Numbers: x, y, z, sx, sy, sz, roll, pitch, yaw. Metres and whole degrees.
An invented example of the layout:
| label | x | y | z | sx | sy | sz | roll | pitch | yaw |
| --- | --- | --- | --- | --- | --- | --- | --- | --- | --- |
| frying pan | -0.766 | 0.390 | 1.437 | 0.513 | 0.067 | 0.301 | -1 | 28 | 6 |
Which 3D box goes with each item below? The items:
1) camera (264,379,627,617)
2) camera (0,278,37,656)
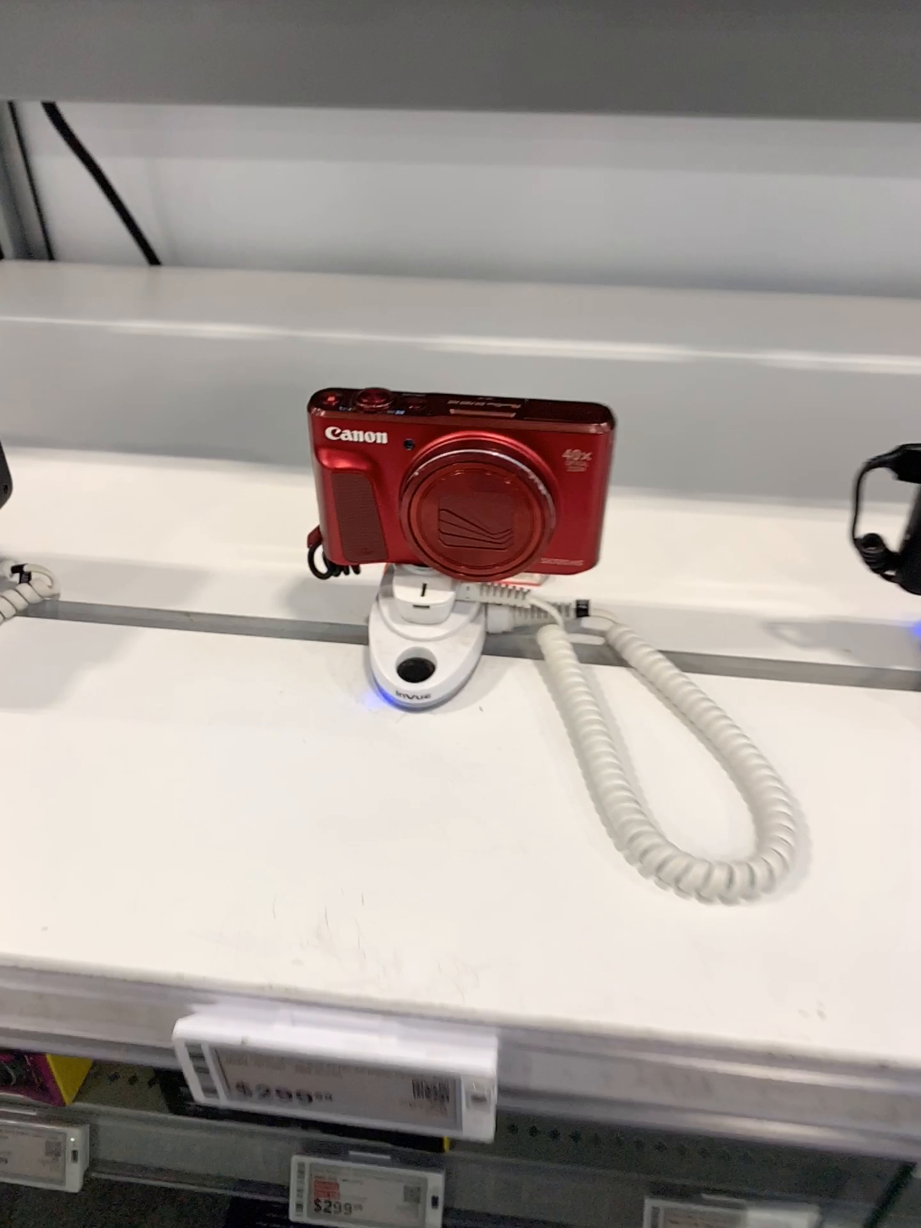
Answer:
| label | x | y | z | sx | sy | sz | roll | pitch | yaw |
| --- | --- | --- | --- | --- | --- | --- | --- | --- | --- |
| camera | -0.004 | -0.042 | 0.350 | 0.120 | 0.070 | 0.040 | 4 | 38 | 6 |
| camera | -0.243 | -0.056 | 0.339 | 0.120 | 0.089 | 0.101 | 3 | 38 | 5 |
